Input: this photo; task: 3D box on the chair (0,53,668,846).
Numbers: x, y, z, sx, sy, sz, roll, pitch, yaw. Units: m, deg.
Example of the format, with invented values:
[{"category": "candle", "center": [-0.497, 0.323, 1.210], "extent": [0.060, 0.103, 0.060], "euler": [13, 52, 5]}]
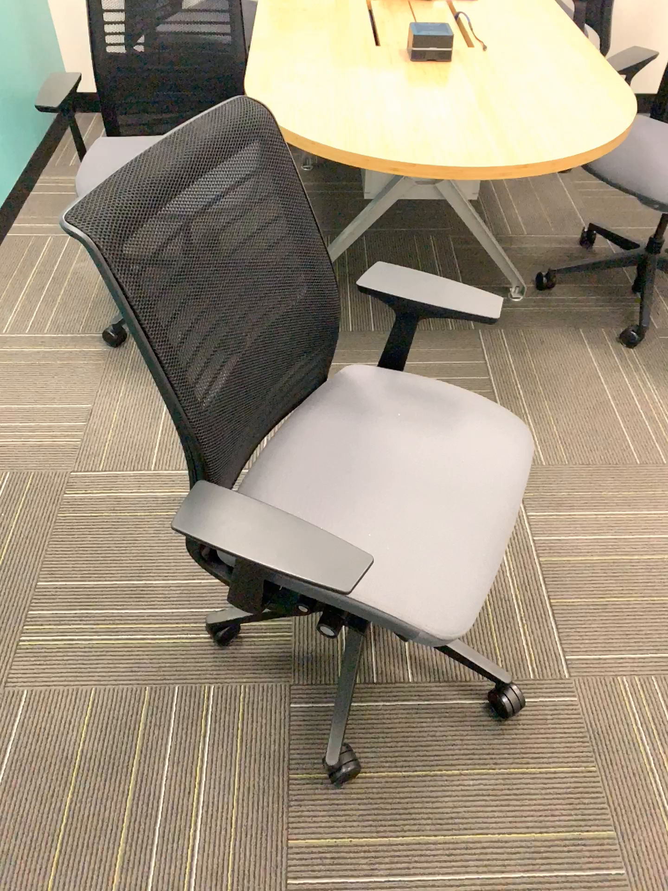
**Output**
[{"category": "chair", "center": [0.028, 0.042, 1.150], "extent": [0.691, 0.995, 0.652], "euler": [21, 50, 18]}]
